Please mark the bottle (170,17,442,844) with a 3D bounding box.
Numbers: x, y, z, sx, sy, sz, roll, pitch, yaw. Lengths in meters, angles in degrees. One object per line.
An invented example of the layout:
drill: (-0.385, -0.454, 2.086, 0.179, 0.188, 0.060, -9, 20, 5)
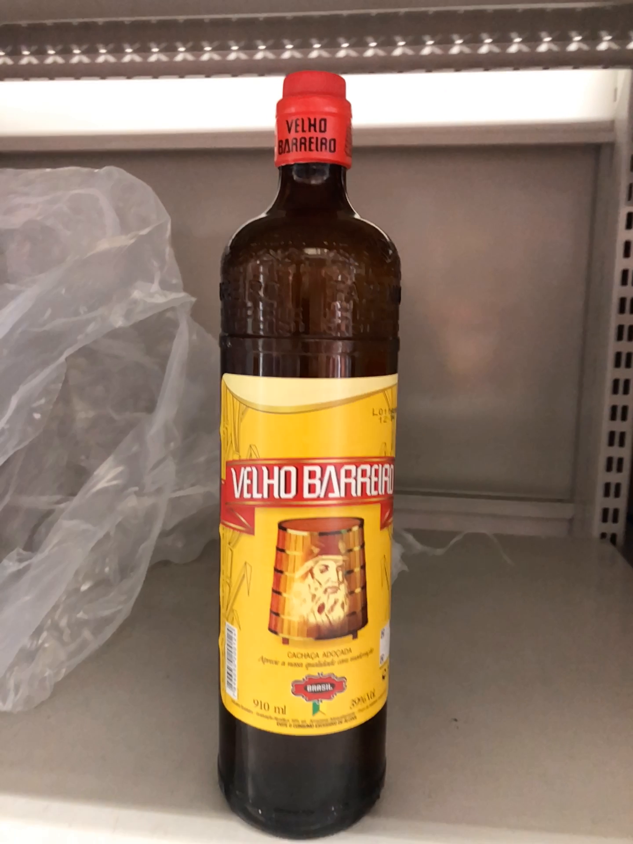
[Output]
bottle: (-0.008, 0.011, 0.292, 0.090, 0.299, 0.080, -2, 9, -9)
